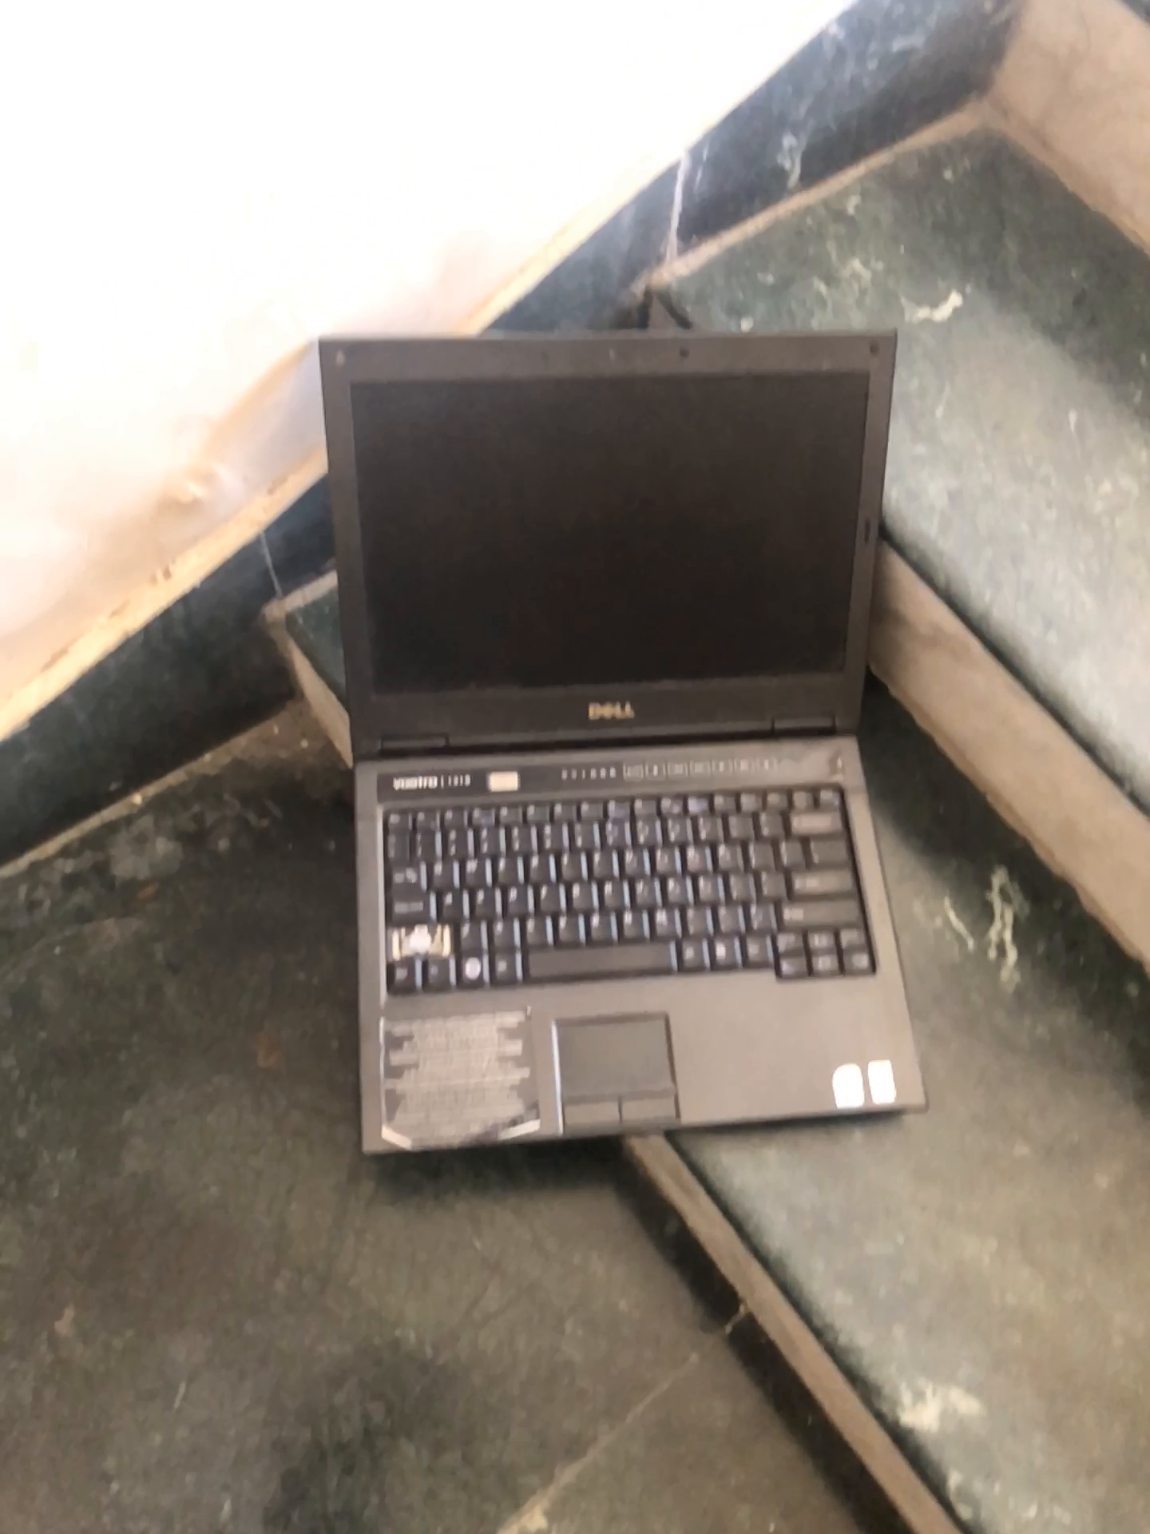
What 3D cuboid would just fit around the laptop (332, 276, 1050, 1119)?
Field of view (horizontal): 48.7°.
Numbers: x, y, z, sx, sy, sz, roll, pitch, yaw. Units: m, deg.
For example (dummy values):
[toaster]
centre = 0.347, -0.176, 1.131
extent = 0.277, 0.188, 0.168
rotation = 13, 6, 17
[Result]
[laptop]
centre = 0.031, -0.040, 0.672
extent = 0.302, 0.169, 0.387
rotation = -2, 69, -6
